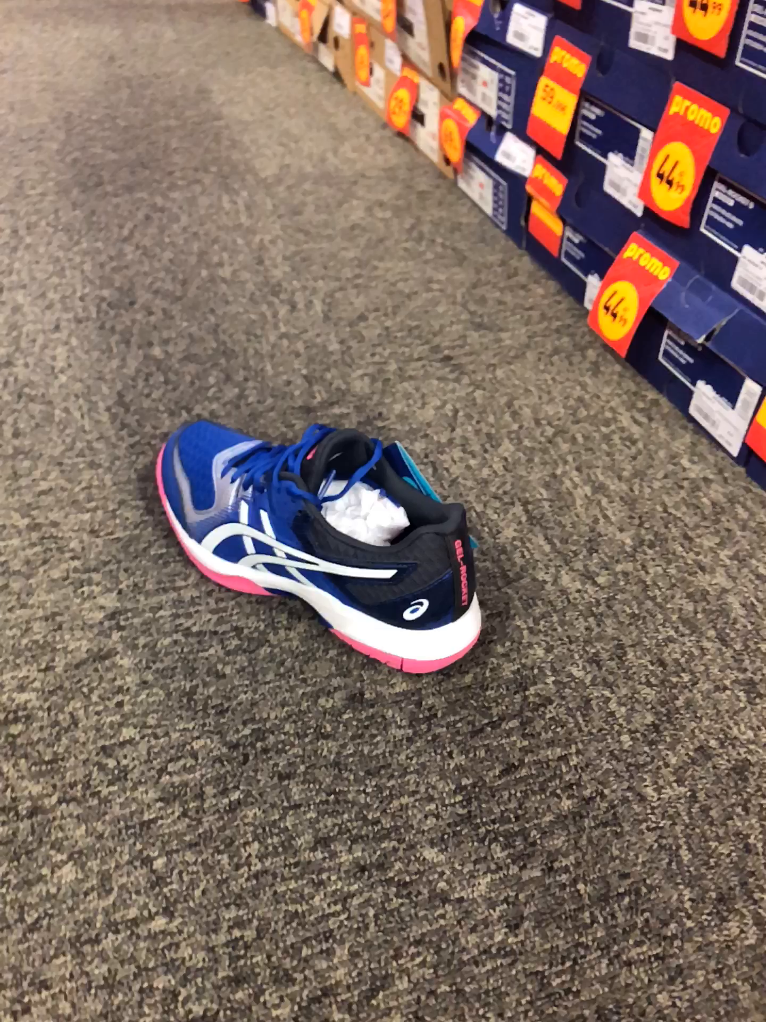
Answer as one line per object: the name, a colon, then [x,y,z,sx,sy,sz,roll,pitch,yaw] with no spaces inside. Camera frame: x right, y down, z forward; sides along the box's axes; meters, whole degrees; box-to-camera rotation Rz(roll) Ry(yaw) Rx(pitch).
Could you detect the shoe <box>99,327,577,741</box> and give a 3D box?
shoe: [-0.035,-0.002,0.534,0.270,0.099,0.126,30,49,28]
